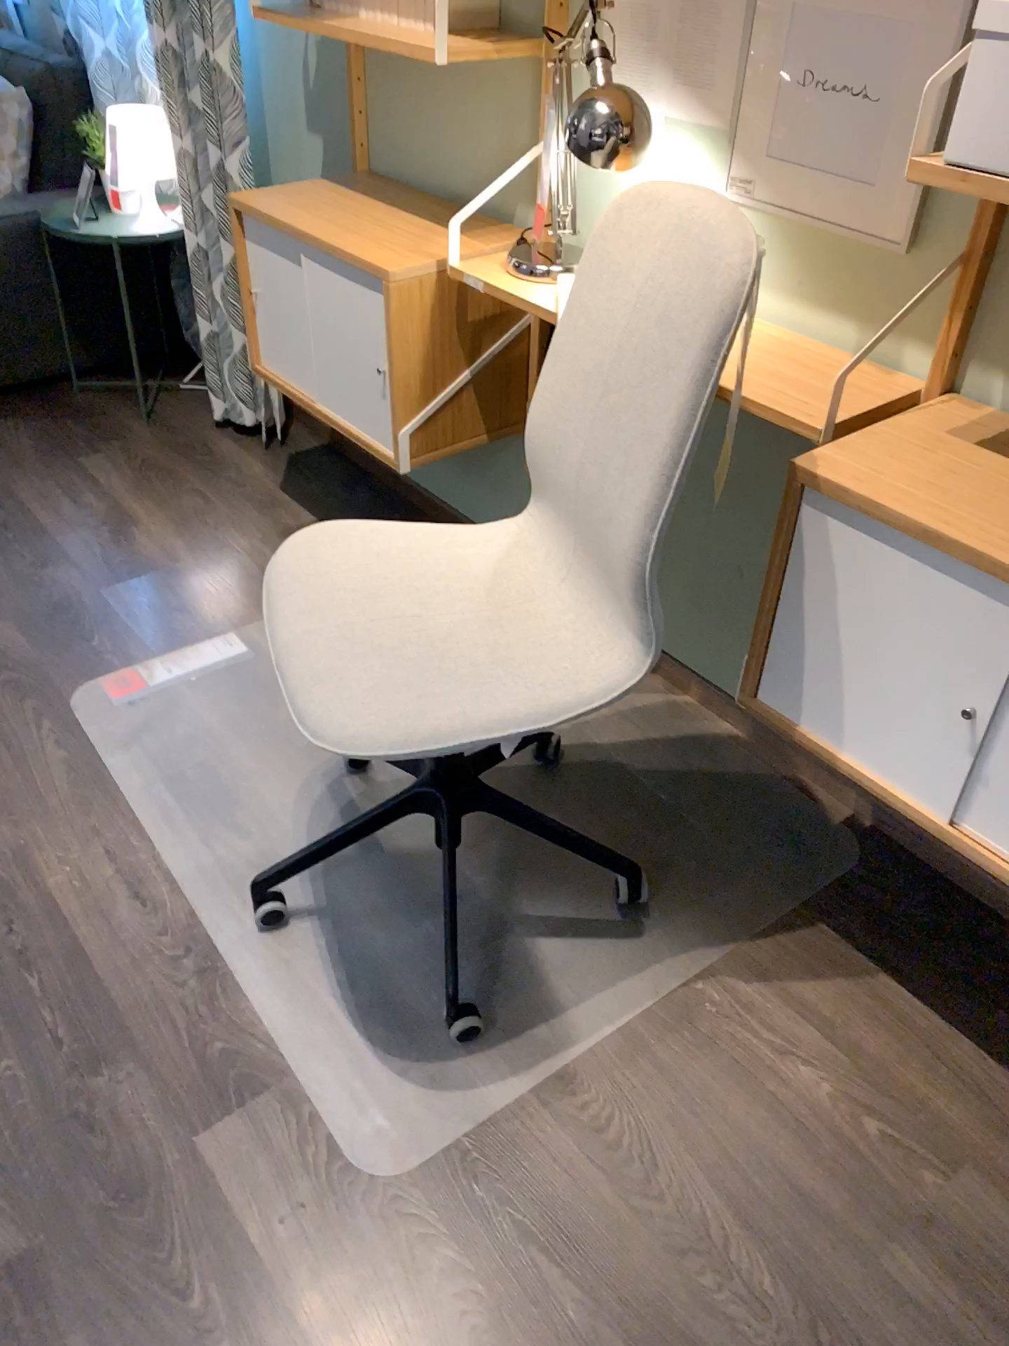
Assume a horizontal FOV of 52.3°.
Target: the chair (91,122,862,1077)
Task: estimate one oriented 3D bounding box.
[{"bbox_3d":[-0.099,-0.102,1.322,0.620,0.966,0.622,-9,39,-15],"label":"chair"}]
